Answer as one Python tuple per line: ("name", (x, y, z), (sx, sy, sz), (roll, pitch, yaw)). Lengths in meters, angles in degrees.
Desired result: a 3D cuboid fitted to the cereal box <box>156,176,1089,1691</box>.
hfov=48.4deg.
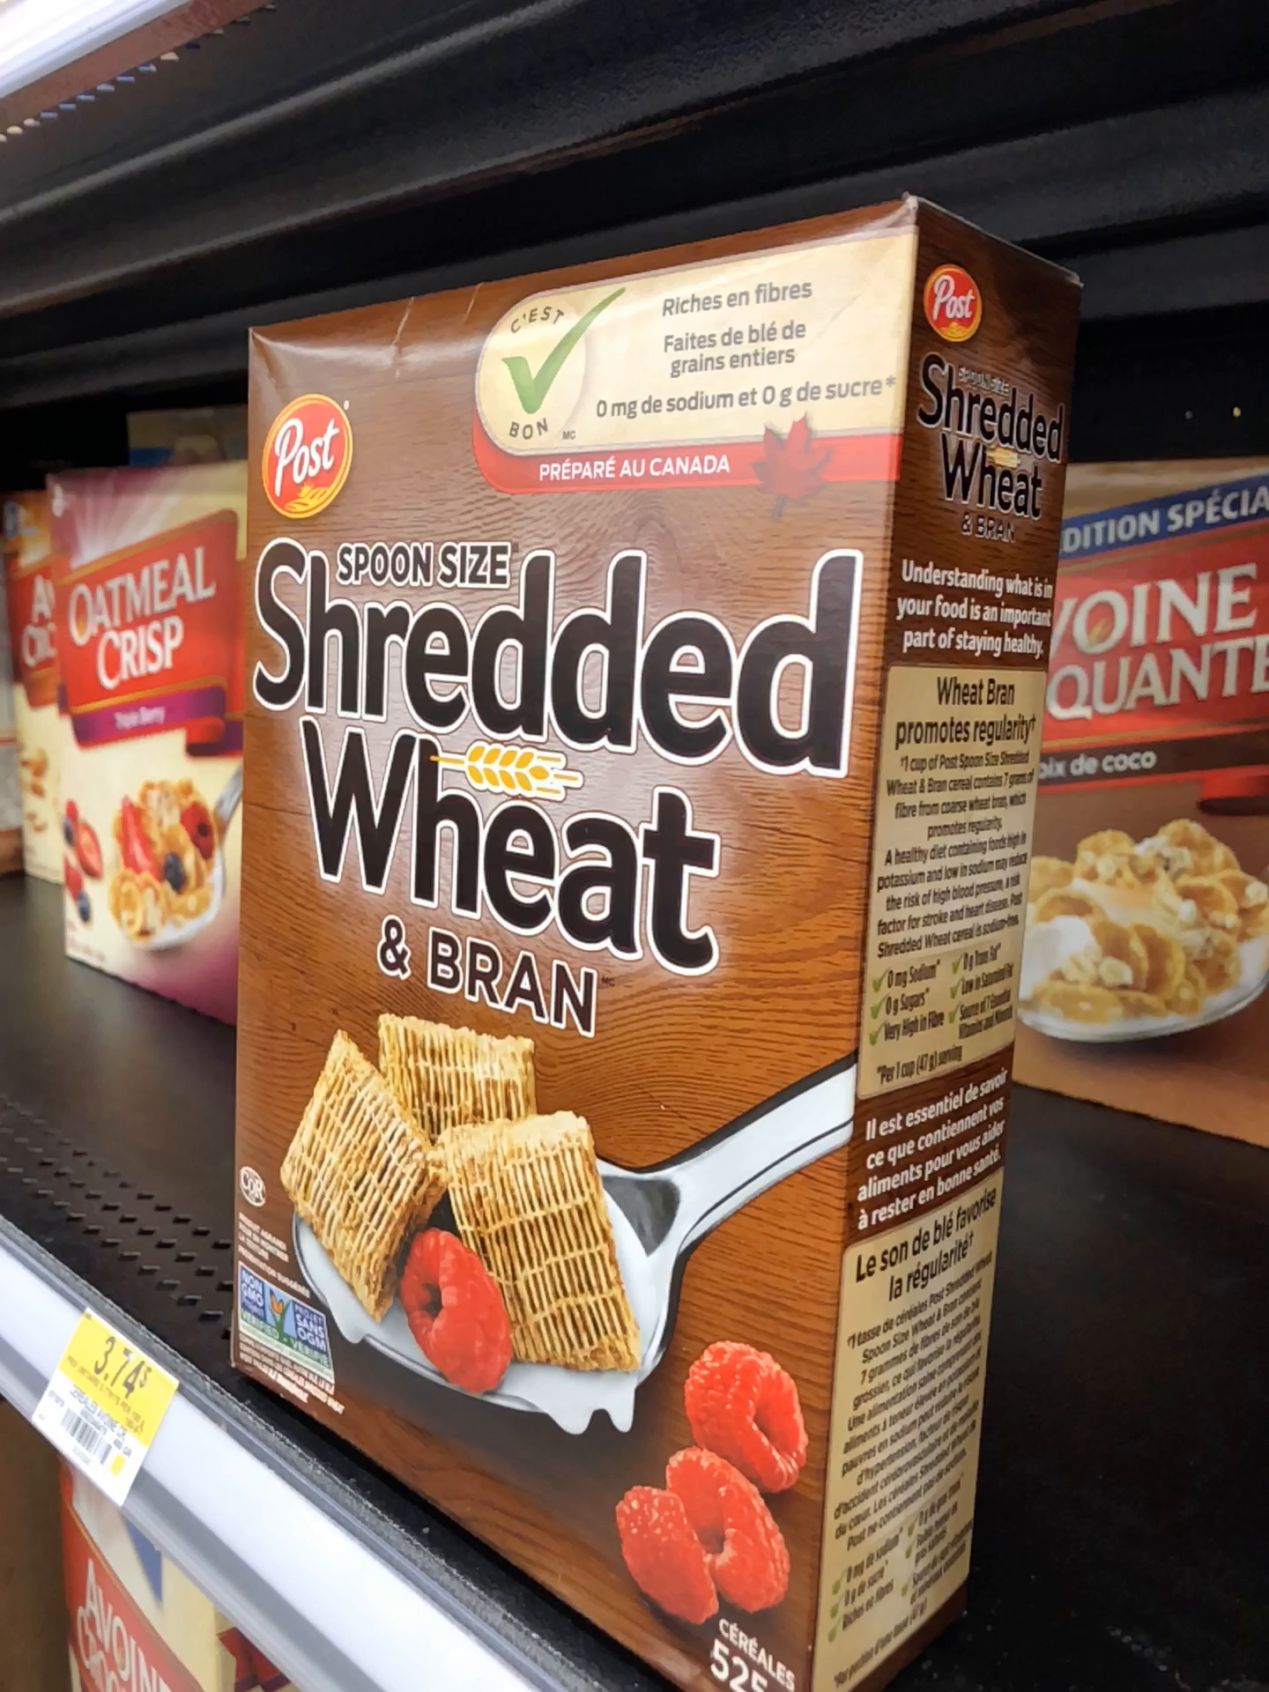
("cereal box", (-0.024, 0.015, 0.312), (0.210, 0.259, 0.060), (10, 11, 42))
